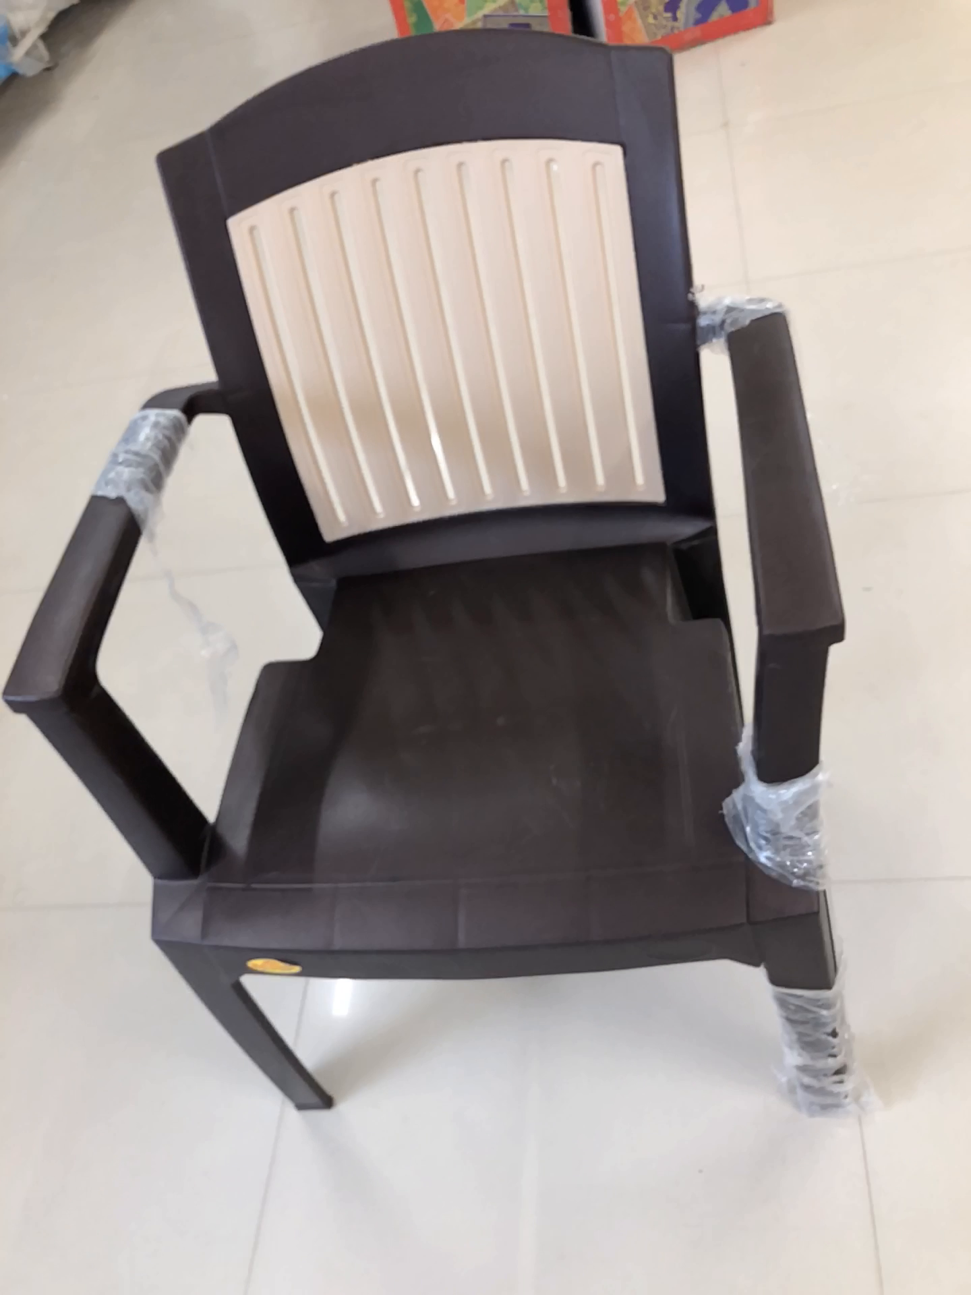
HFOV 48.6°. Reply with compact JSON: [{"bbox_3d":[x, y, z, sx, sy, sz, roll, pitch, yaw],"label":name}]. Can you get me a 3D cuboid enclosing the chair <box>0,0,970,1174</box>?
[{"bbox_3d":[-0.037,-0.059,0.795,0.600,0.557,0.654,-9,48,10],"label":"chair"}]
